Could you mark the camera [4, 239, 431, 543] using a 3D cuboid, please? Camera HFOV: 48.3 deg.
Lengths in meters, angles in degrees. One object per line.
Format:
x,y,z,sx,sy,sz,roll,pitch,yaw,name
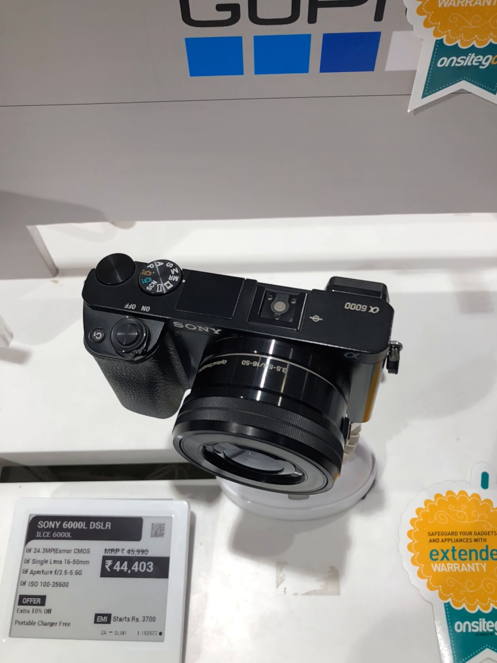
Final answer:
-0.004,0.022,0.186,0.110,0.070,0.060,9,59,8,camera
